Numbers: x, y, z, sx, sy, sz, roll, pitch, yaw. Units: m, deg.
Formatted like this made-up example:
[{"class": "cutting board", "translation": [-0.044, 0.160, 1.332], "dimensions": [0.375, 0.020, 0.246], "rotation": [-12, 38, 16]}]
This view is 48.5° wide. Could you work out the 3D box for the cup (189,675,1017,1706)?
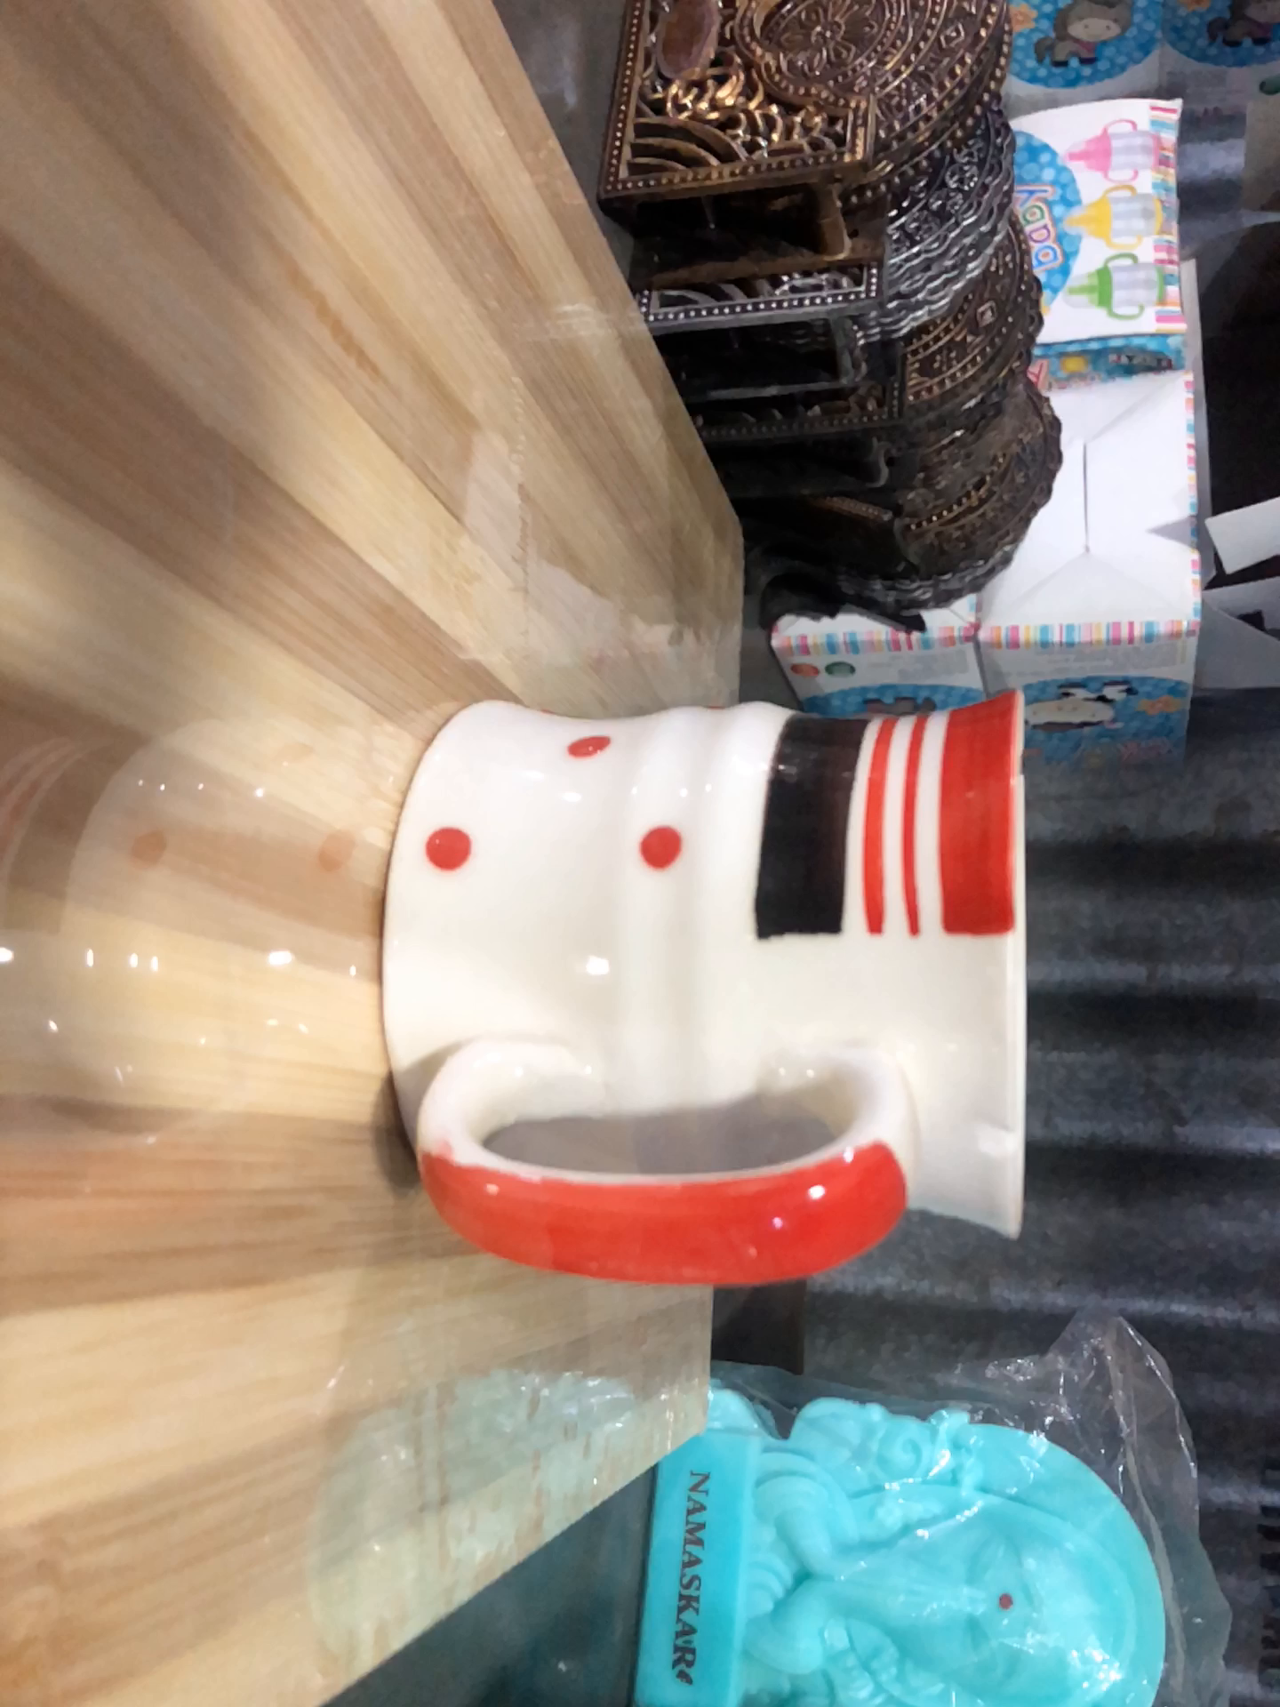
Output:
[{"class": "cup", "translation": [0.012, 0.042, 0.221], "dimensions": [0.110, 0.090, 0.100], "rotation": [-66, 153, -56]}]
